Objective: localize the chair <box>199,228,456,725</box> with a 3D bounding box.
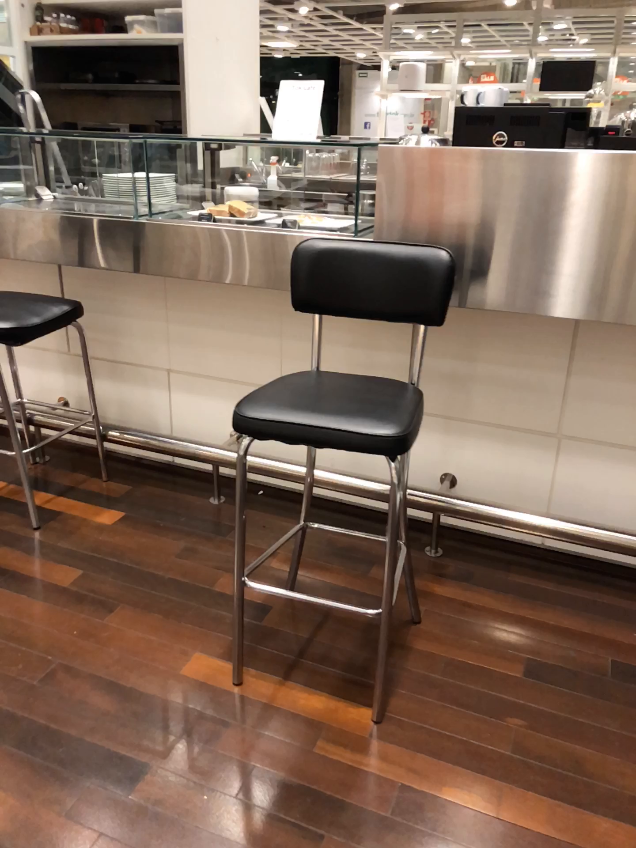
[{"bbox_3d":[0.036,0.093,1.656,0.420,1.013,0.473,8,22,17],"label":"chair"}]
